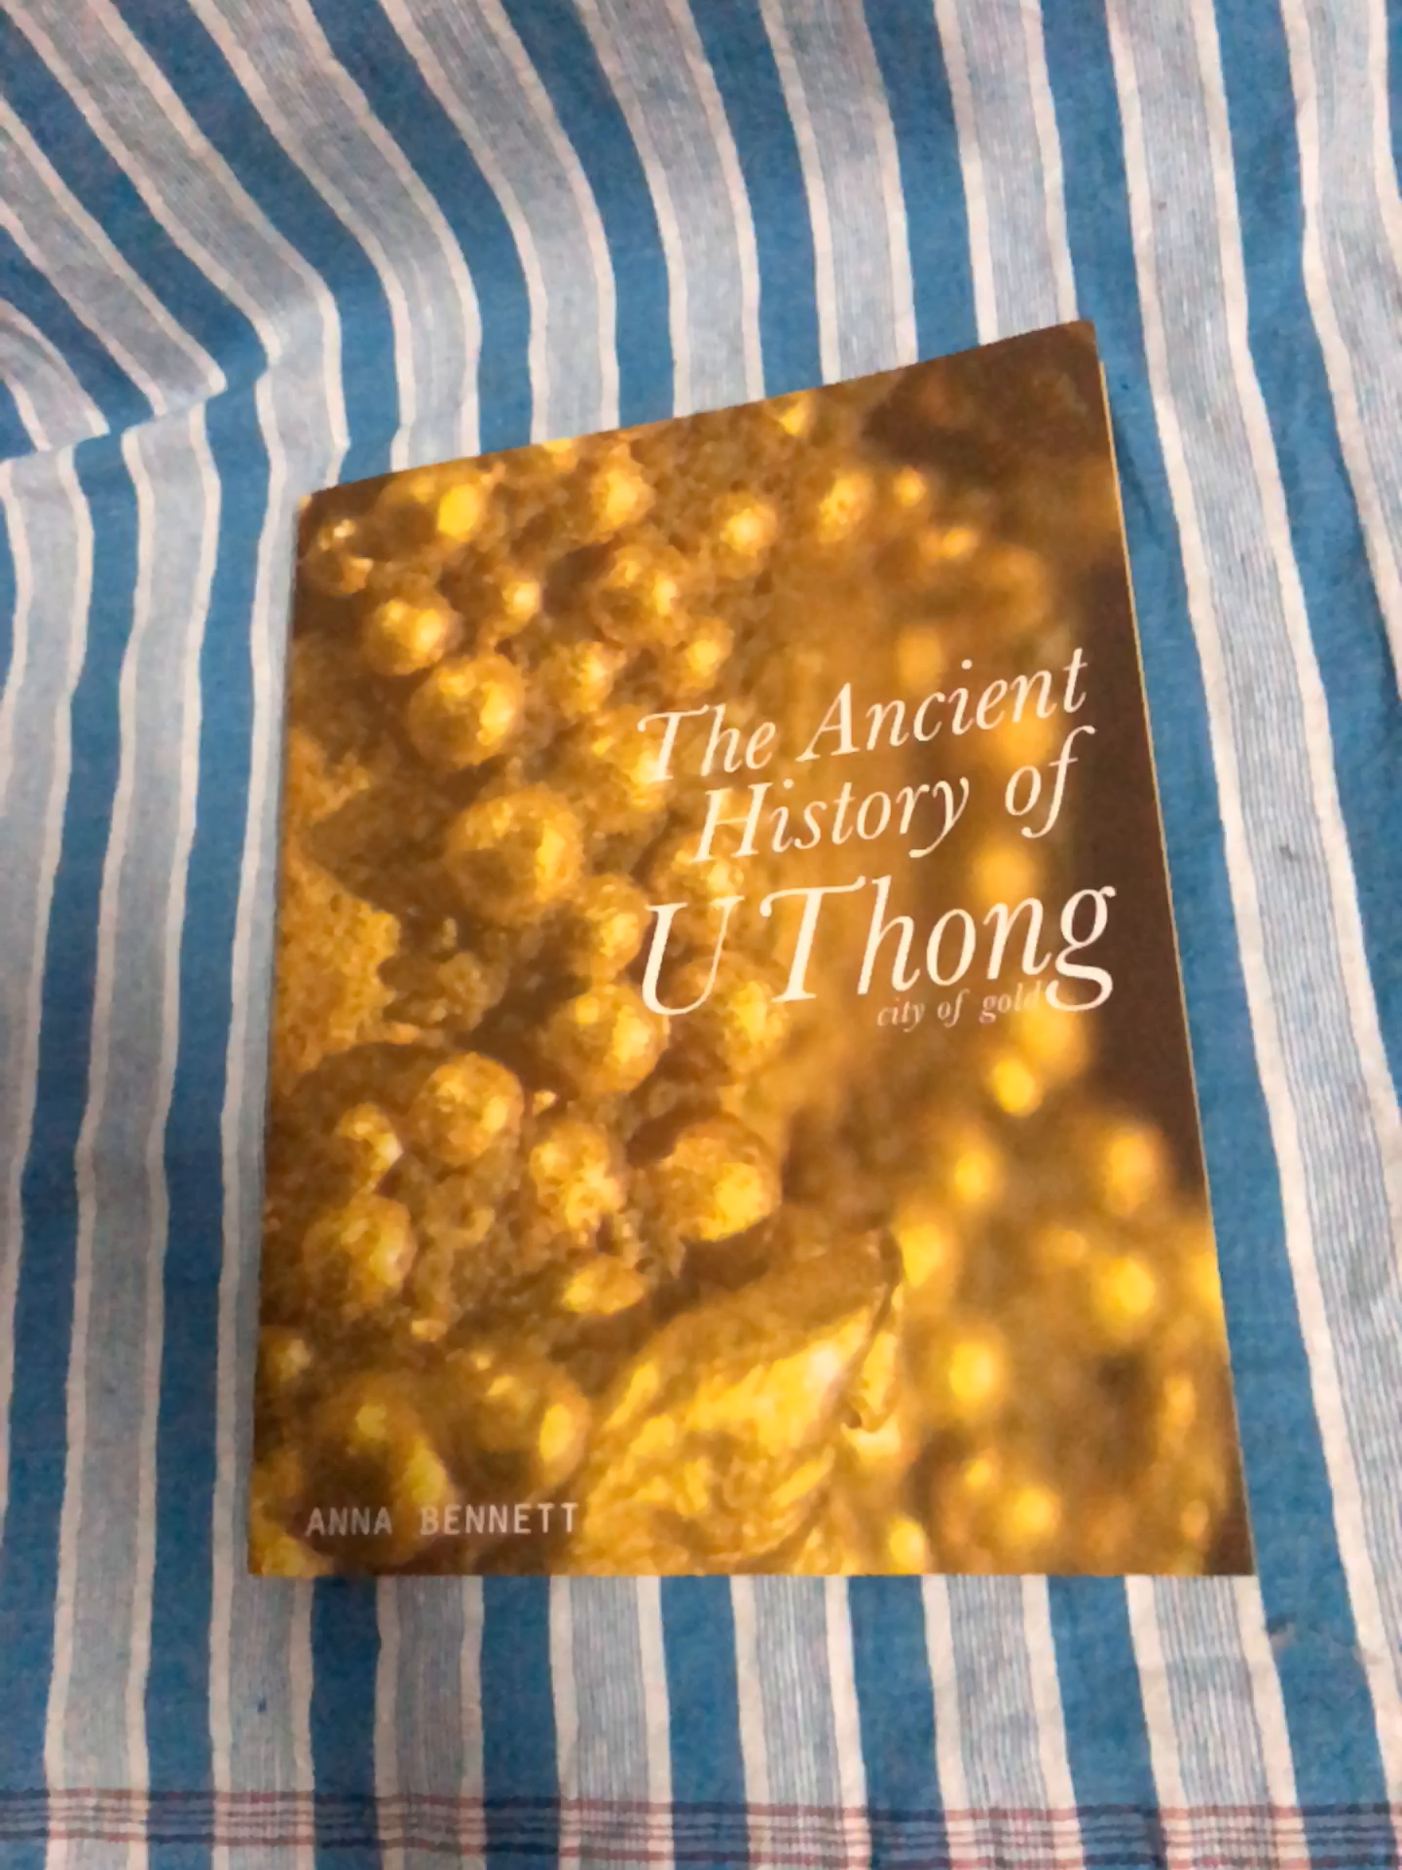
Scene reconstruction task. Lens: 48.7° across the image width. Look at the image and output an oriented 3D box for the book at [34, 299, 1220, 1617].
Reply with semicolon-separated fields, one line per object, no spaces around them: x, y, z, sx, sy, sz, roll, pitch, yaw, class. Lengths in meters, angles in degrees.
-0.024;0.005;0.324;0.220;0.030;0.250;-6;73;14;book
